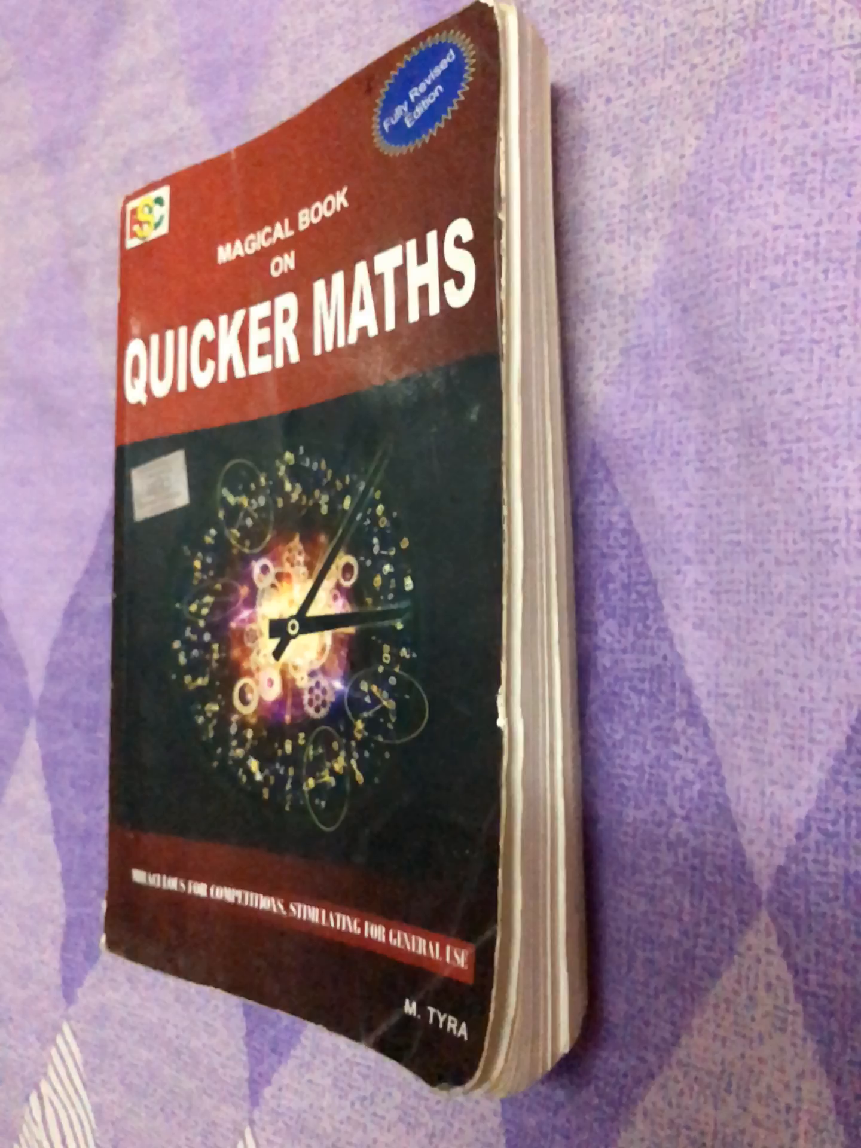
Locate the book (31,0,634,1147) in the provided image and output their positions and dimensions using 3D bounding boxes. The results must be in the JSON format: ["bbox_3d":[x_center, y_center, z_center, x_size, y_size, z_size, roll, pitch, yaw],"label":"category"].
[{"bbox_3d":[-0.032,-0.005,0.238,0.151,0.050,0.220,-5,83,40],"label":"book"}]
